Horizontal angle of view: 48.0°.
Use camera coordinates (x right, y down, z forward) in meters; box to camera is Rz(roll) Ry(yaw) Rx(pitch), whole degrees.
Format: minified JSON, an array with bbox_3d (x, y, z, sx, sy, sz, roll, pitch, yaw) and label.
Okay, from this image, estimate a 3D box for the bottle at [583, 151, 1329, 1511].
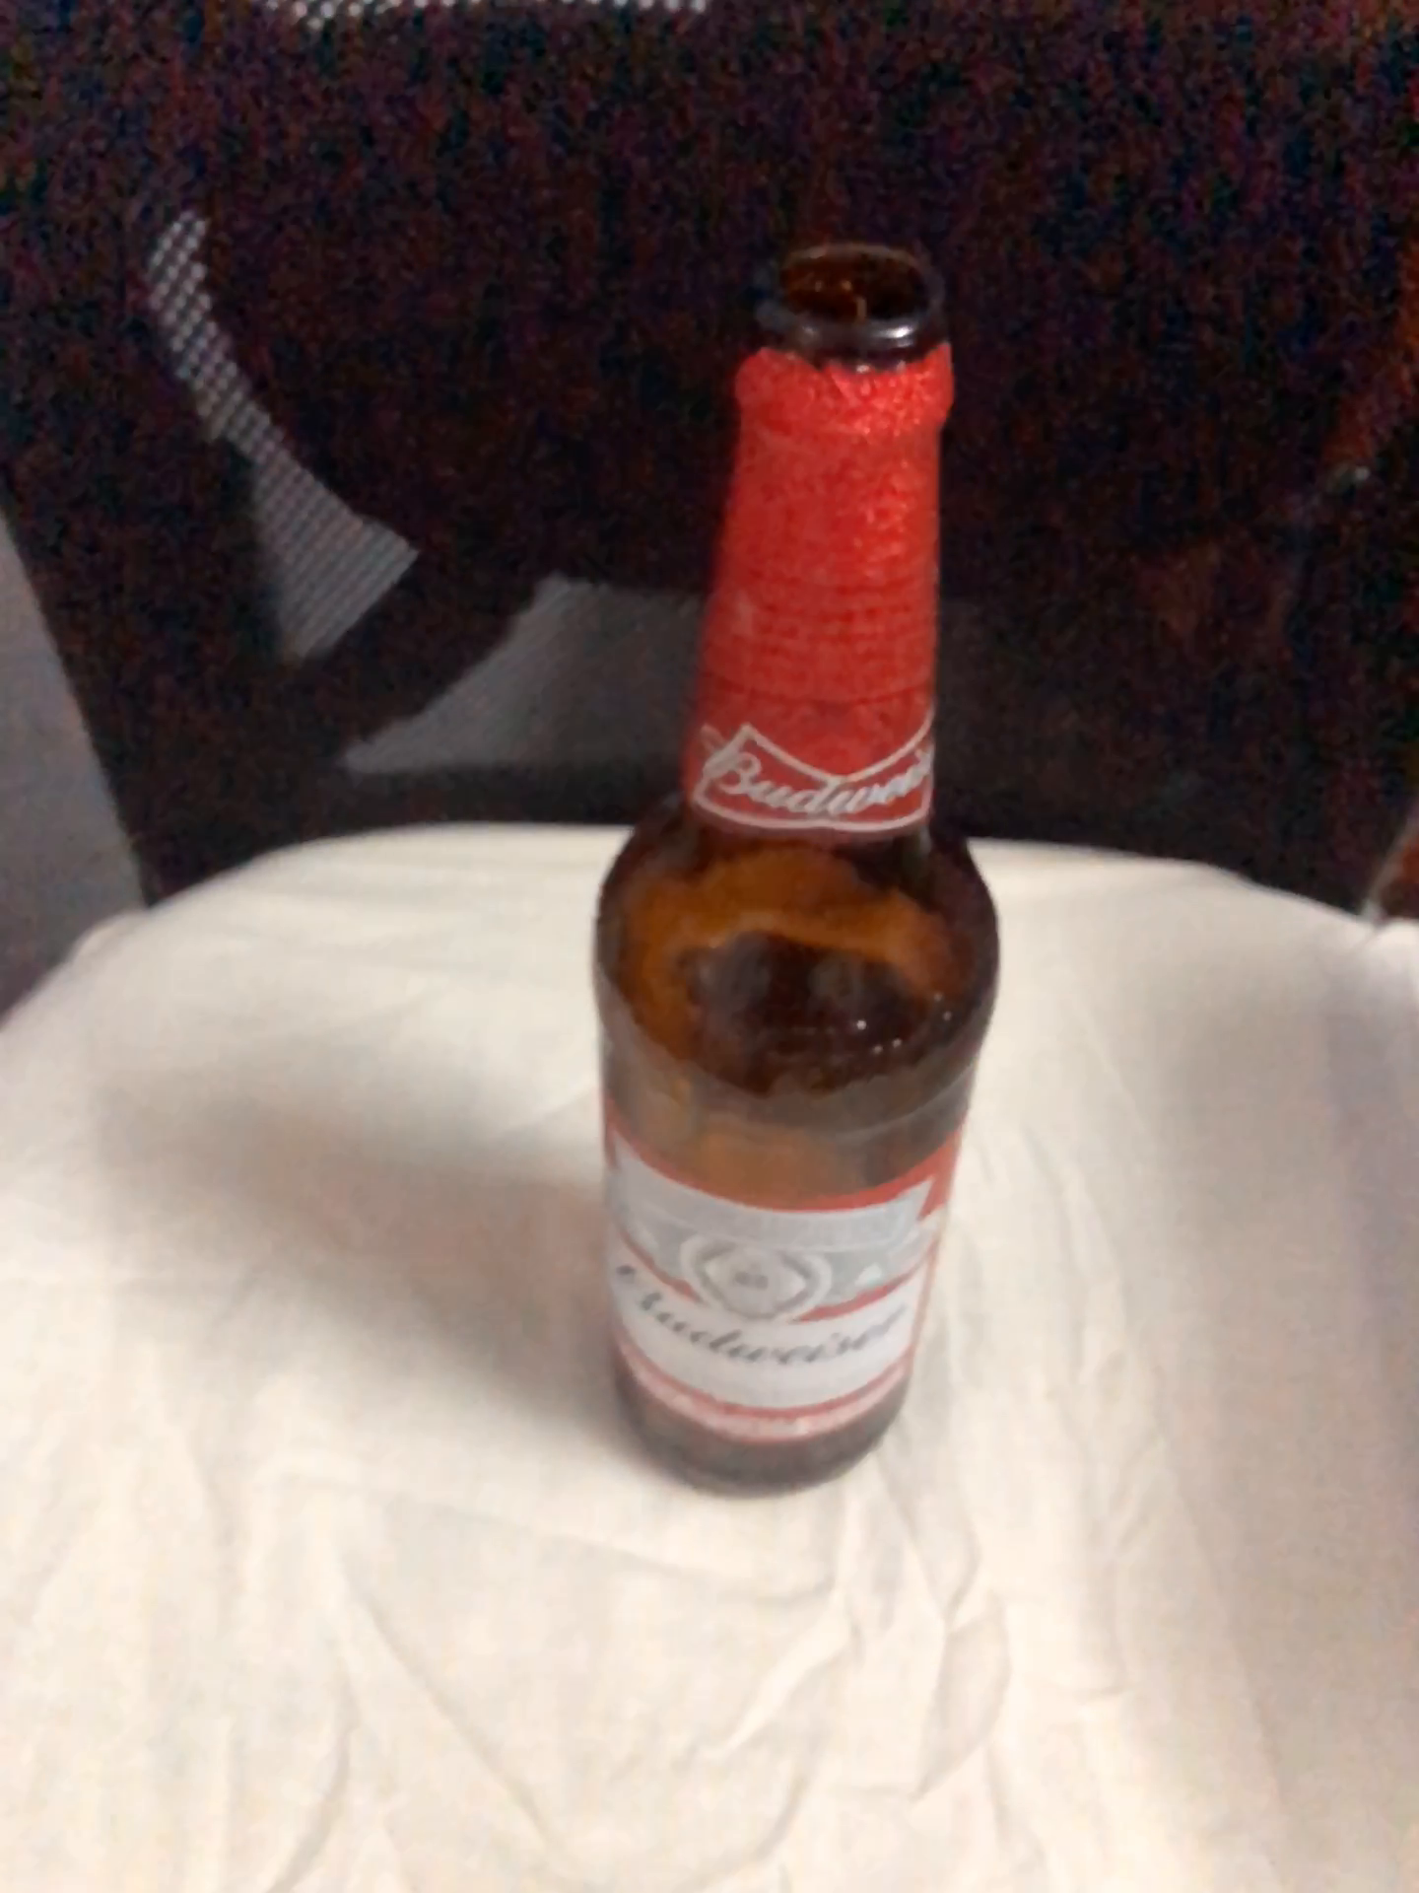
[{"bbox_3d":[0.022,0.013,0.298,0.080,0.279,0.070,5,49,0],"label":"bottle"}]
